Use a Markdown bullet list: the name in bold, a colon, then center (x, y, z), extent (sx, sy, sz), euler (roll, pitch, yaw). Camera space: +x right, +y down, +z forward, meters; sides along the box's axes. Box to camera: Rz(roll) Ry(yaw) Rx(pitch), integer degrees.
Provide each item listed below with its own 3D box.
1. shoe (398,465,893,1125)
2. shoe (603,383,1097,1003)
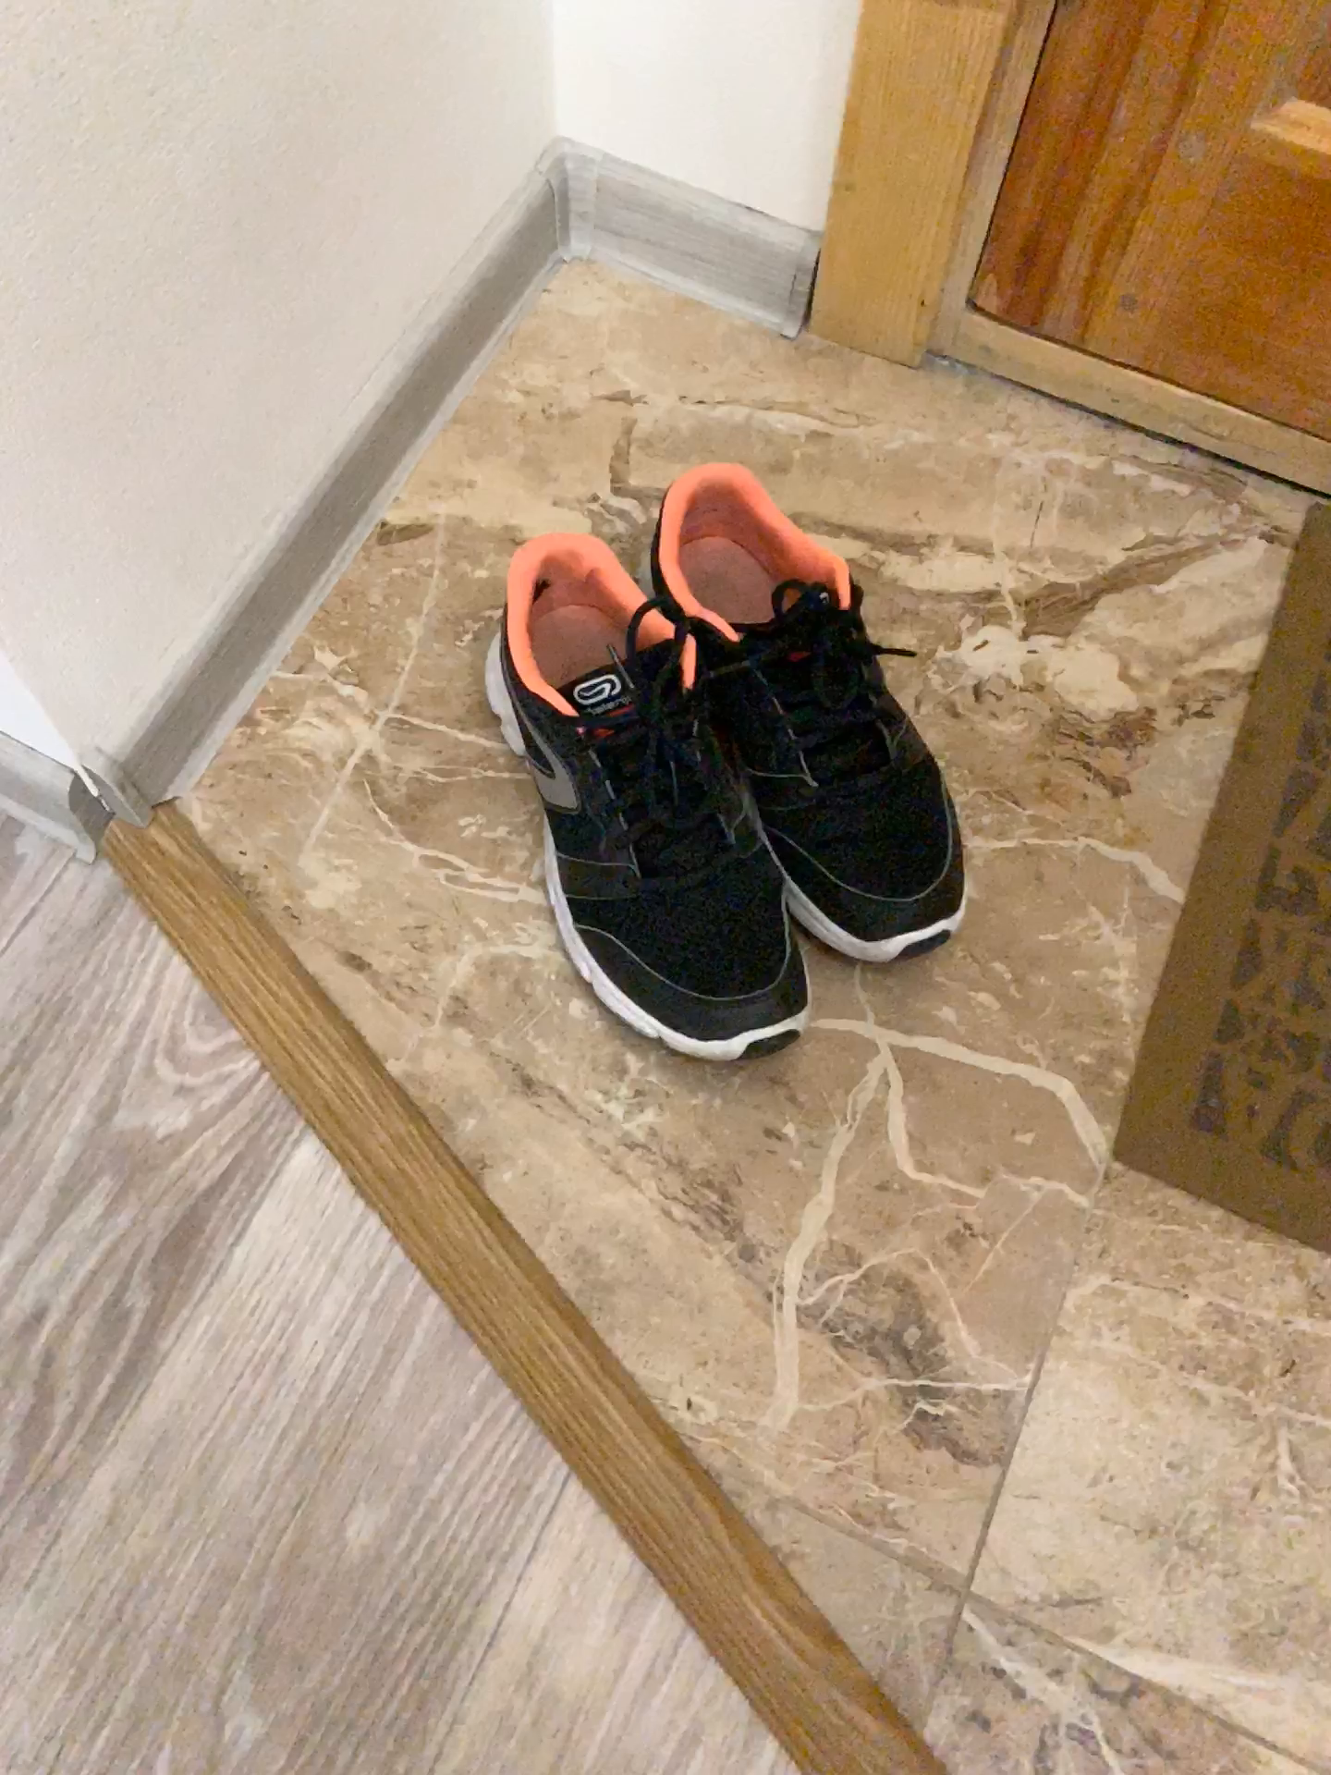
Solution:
- **shoe**: center (-0.017, -0.043, 0.588), extent (0.100, 0.100, 0.250), euler (-22, 67, -13)
- **shoe**: center (0.068, -0.090, 0.611), extent (0.100, 0.100, 0.245), euler (-22, 67, -13)
